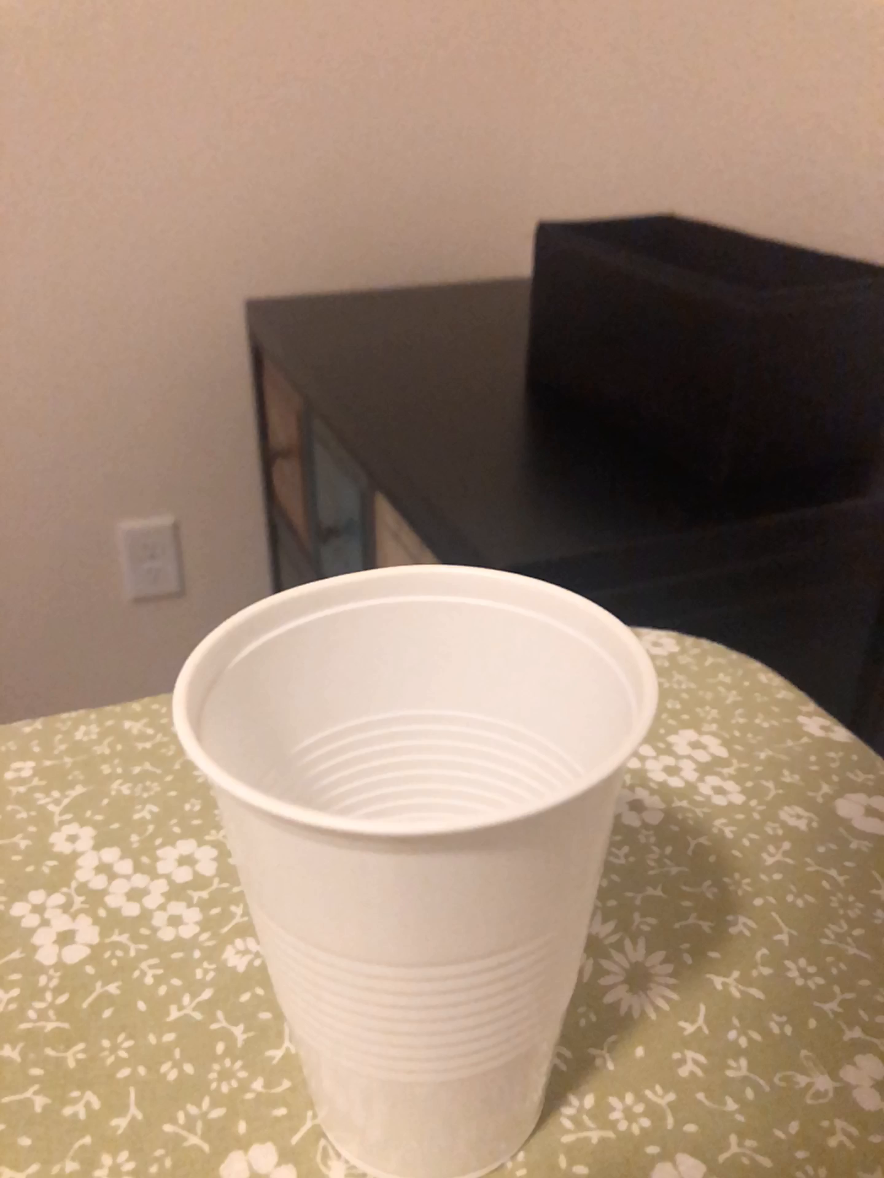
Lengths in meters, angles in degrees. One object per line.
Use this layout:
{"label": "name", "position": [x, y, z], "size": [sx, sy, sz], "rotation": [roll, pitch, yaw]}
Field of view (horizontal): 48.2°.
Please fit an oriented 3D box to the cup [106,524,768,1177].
{"label": "cup", "position": [-0.002, 0.051, 0.184], "size": [0.078, 0.090, 0.079], "rotation": [0, 26, 0]}
